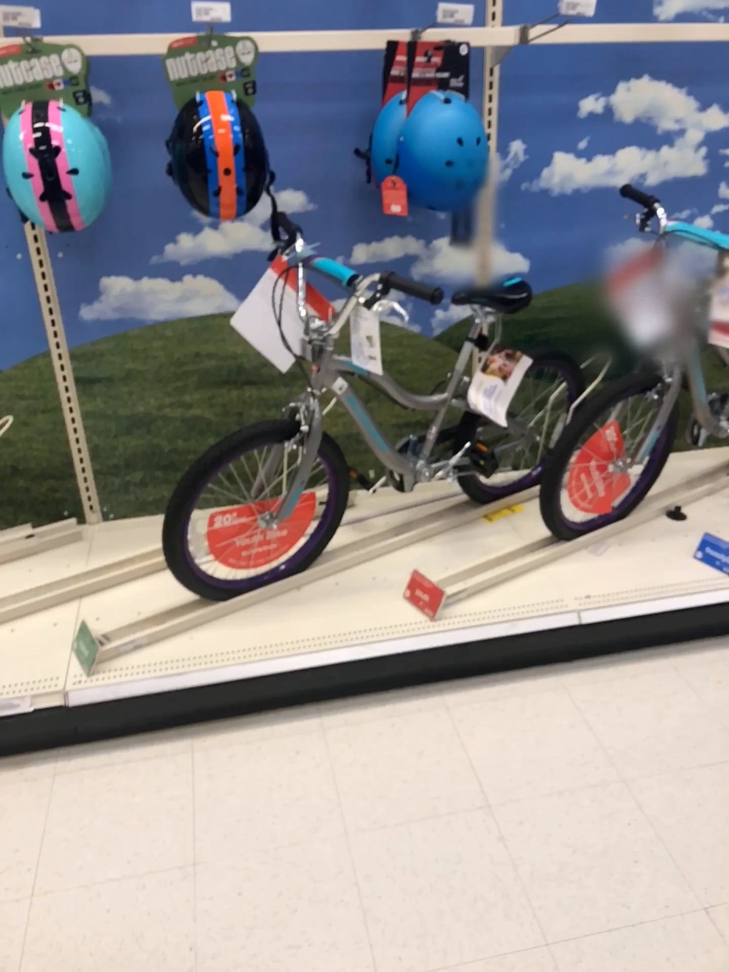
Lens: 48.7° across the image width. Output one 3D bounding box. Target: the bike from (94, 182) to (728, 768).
[{"bbox_3d":[0.140,-0.152,2.020,1.321,0.878,0.652,-21,32,-27],"label":"bike"}]
